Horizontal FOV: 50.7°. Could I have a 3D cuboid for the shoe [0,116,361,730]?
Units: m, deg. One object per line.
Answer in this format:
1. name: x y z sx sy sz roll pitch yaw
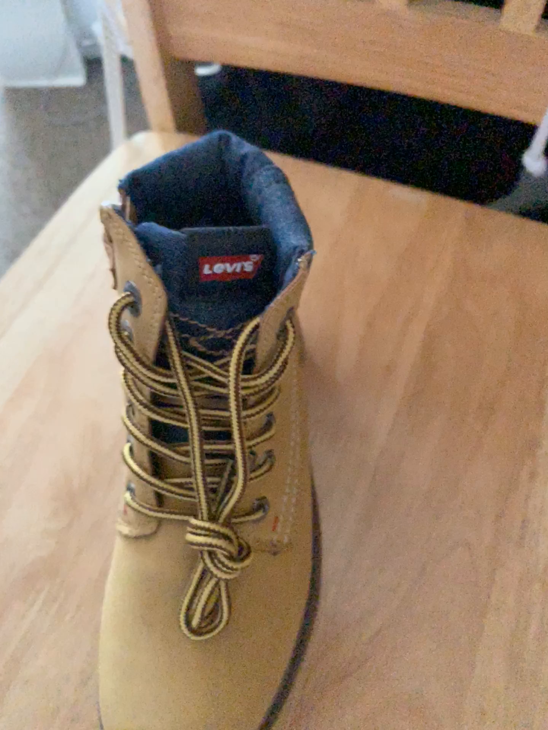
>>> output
1. shoe: -0.029 0.045 0.222 0.100 0.139 0.231 5 65 7
